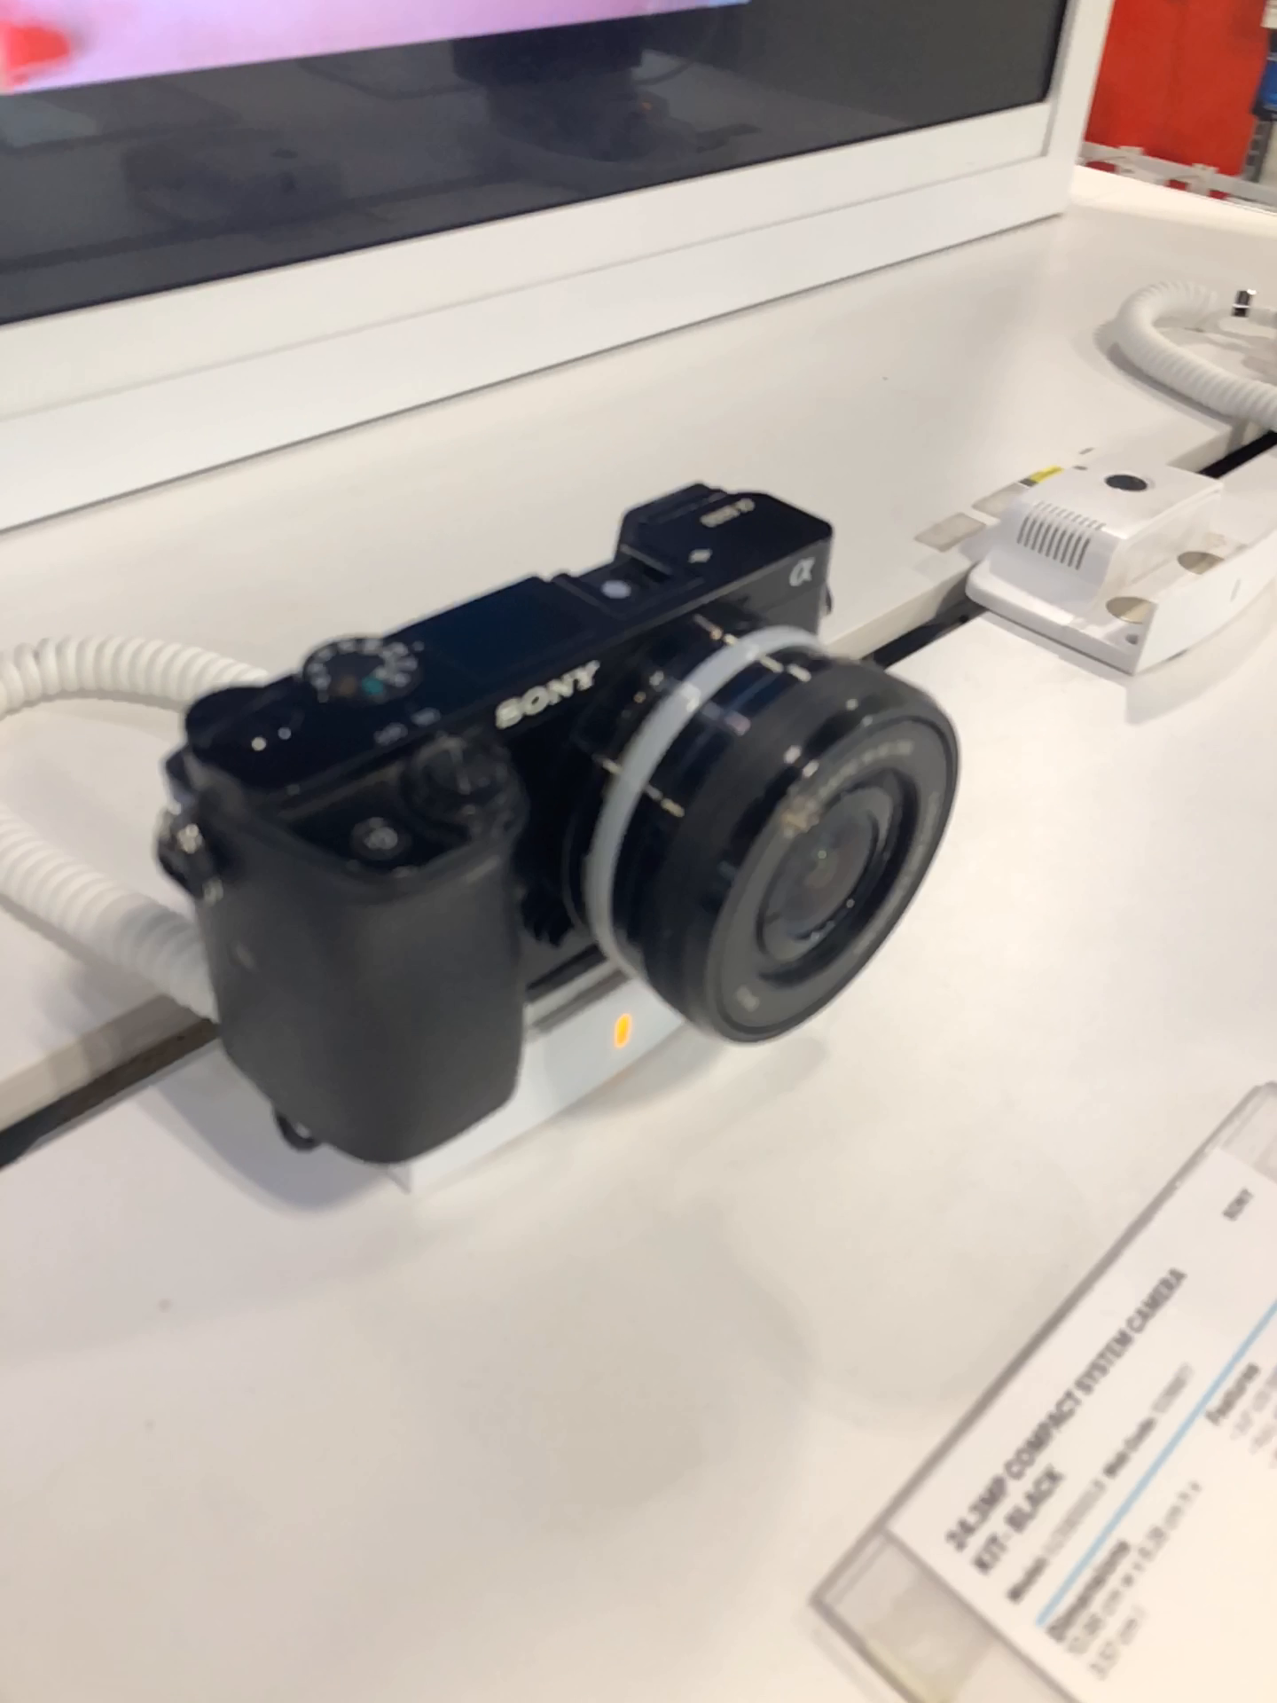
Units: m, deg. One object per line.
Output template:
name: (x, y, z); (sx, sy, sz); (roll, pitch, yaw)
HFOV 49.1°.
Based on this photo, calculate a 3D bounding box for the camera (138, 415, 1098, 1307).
camera: (0.001, -0.008, 0.217); (0.070, 0.070, 0.120); (33, 48, 32)
